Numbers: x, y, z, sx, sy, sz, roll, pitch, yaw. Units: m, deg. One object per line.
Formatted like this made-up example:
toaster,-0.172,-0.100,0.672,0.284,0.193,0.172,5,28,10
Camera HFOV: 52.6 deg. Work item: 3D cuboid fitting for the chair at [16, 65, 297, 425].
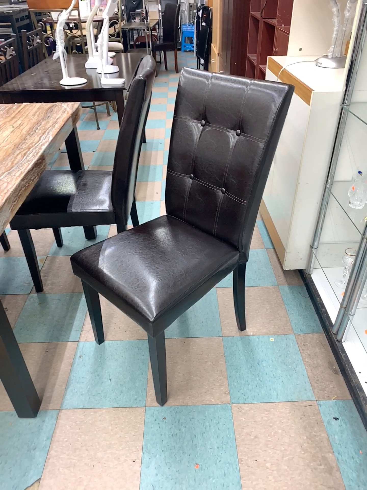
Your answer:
chair,-0.044,-0.020,1.237,0.574,0.939,0.470,-30,42,-33
